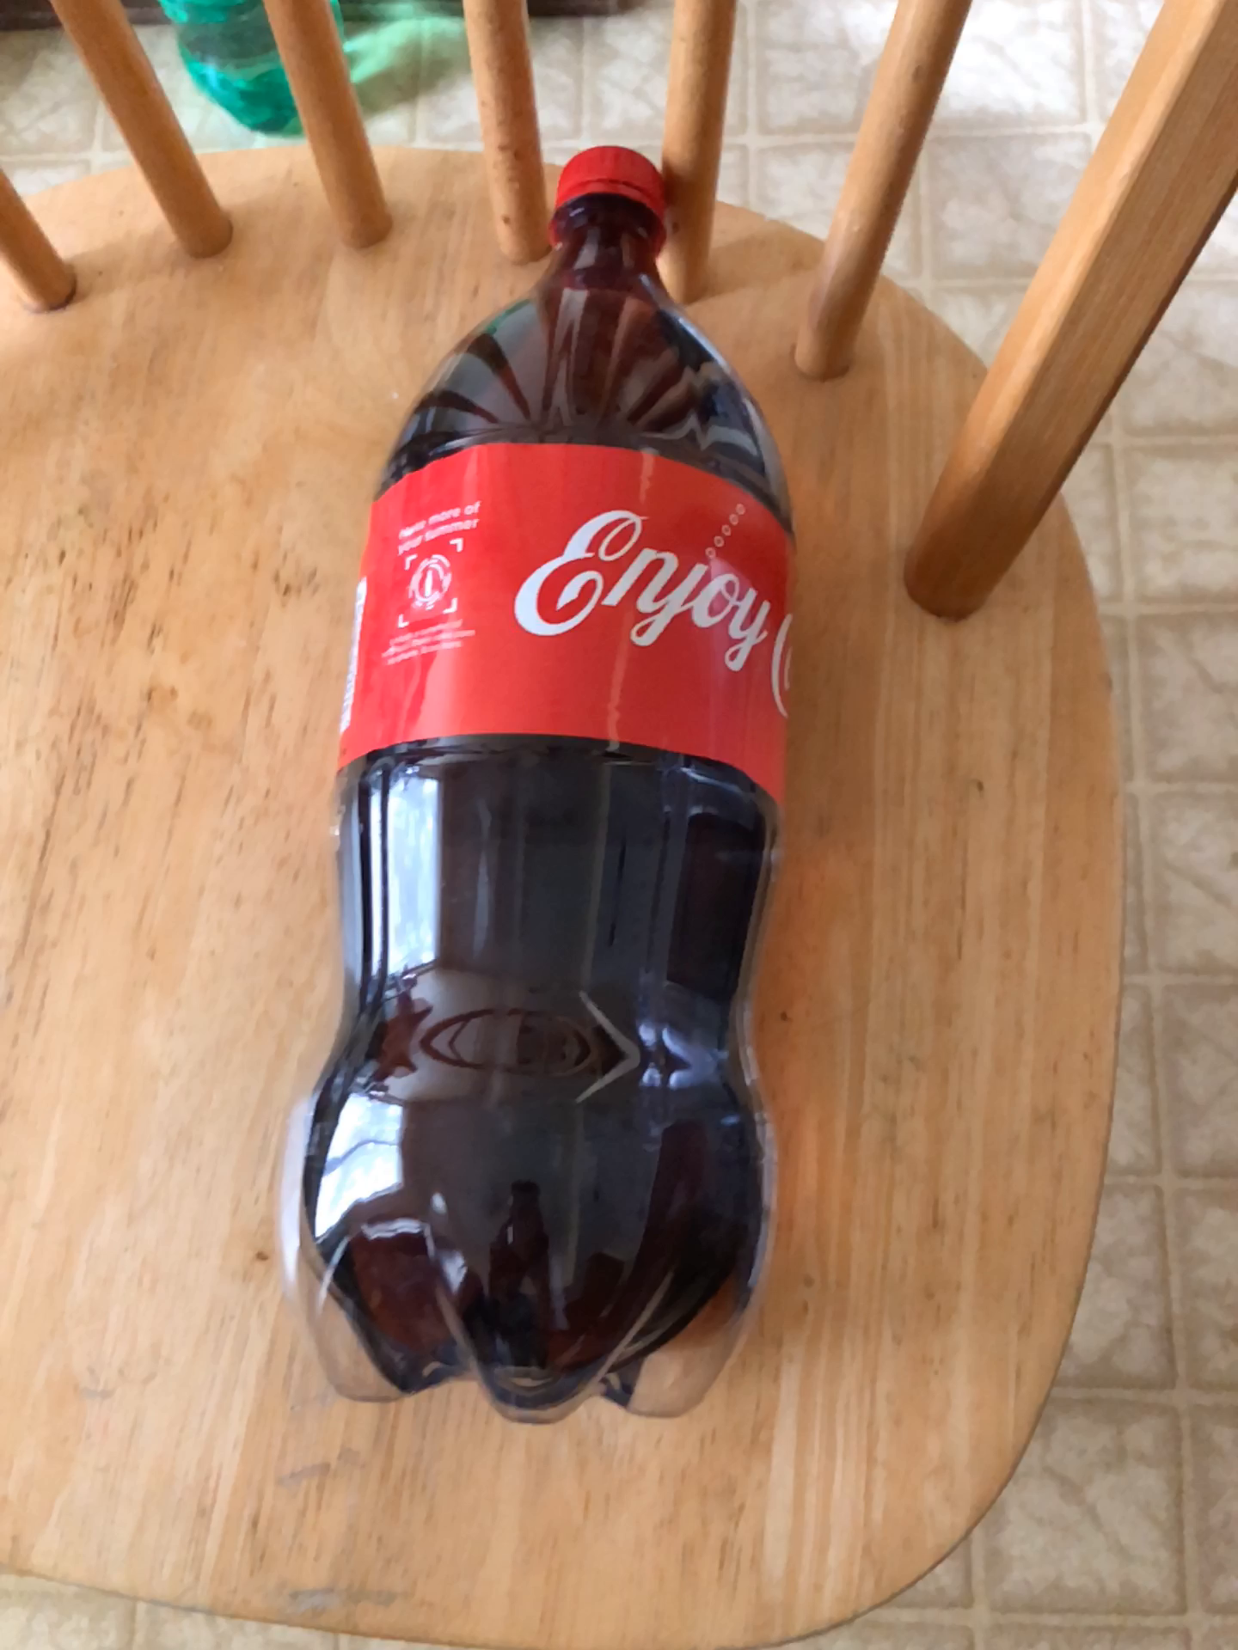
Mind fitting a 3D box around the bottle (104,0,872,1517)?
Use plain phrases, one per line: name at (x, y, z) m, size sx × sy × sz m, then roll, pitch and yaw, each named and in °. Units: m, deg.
bottle at (-0.017, -0.030, 0.327) m, size 0.100 × 0.120 × 0.320 m, roll -7°, pitch 73°, yaw 38°
